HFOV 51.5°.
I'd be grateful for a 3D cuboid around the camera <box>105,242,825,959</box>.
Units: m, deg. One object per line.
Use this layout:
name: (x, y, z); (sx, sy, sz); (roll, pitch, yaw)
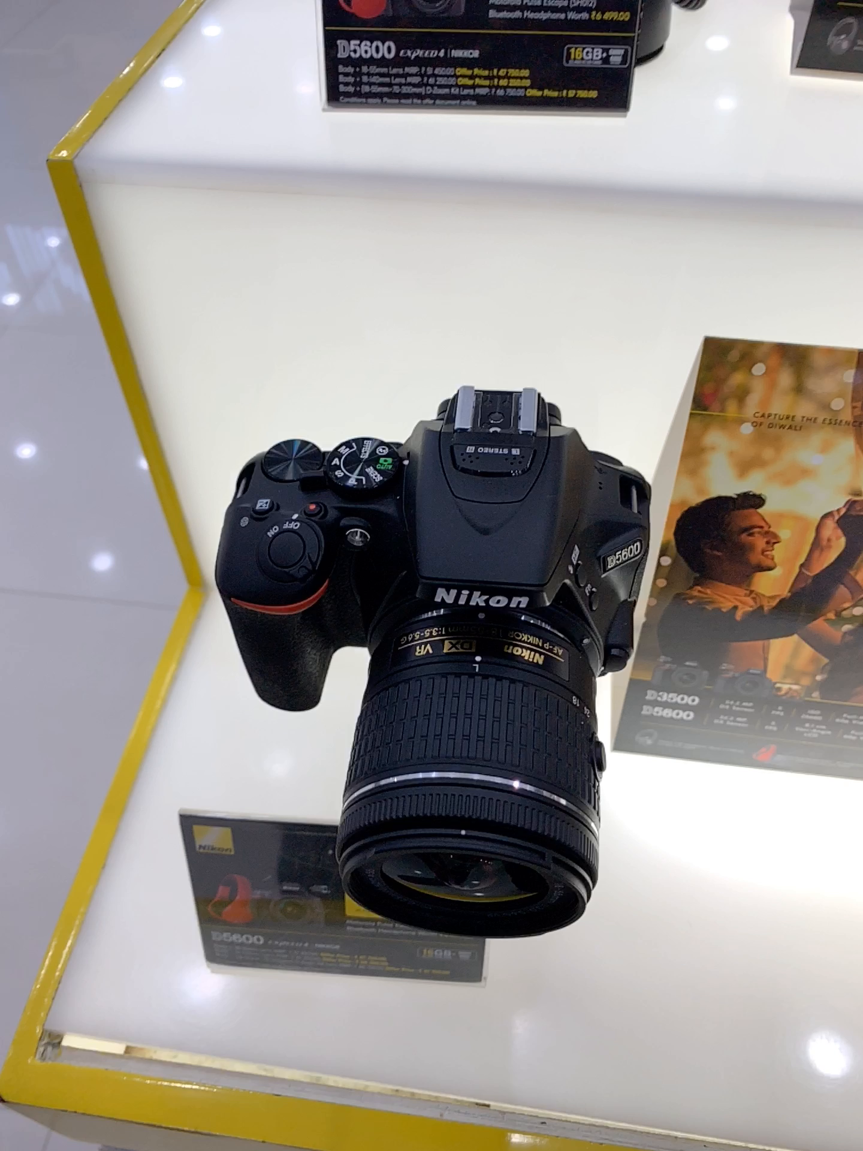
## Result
camera: (0.011, -0.002, 0.235); (0.120, 0.090, 0.160); (3, 50, 4)
